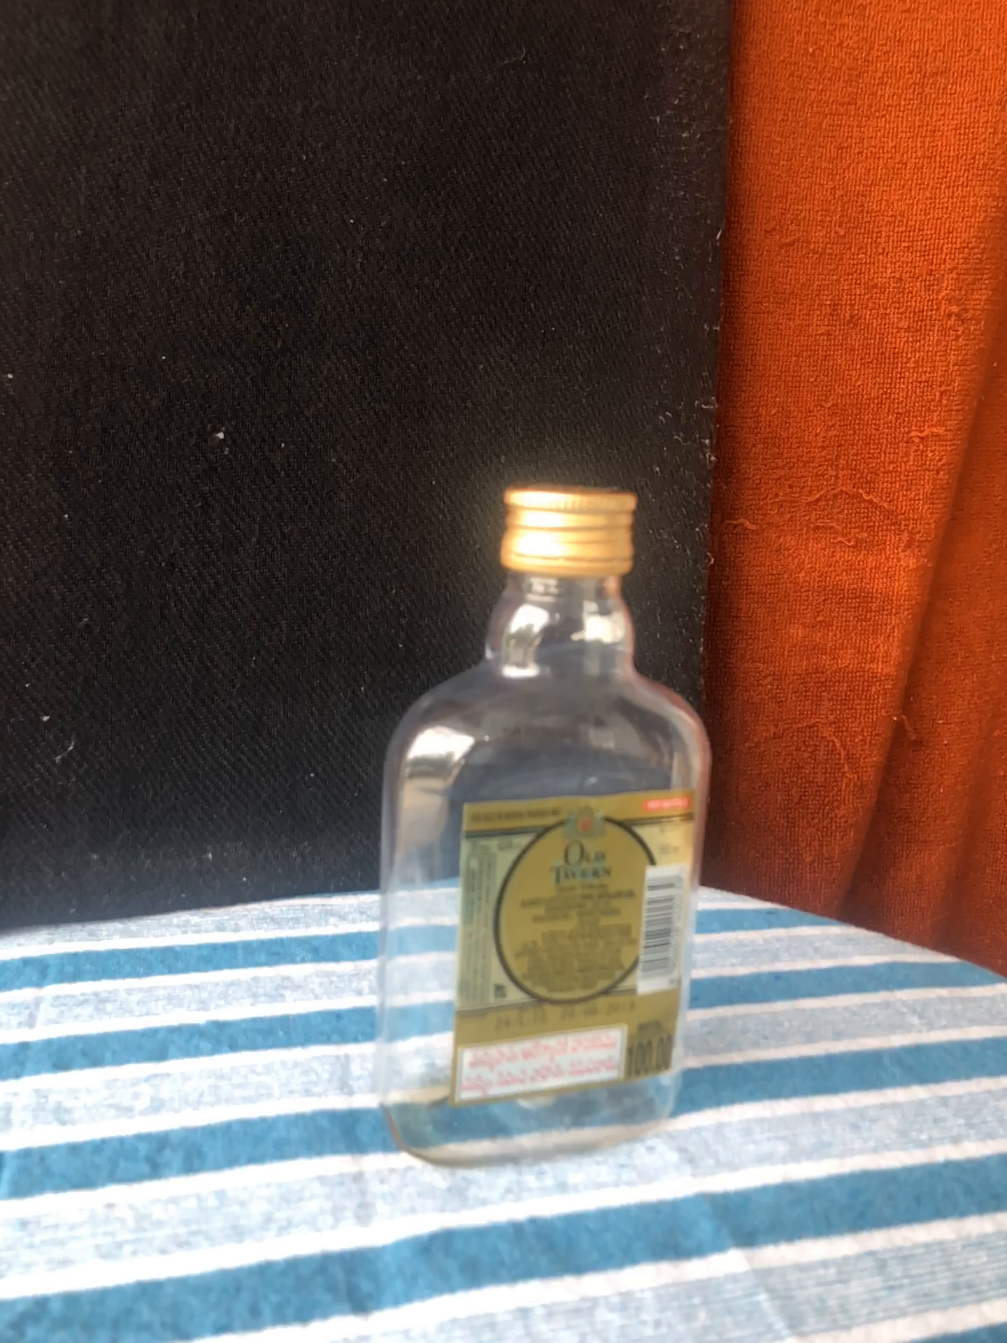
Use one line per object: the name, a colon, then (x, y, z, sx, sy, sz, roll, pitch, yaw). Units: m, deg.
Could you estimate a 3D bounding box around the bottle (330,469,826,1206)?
bottle: (0.011, 0.033, 0.234, 0.080, 0.140, 0.040, 1, 14, -20)
